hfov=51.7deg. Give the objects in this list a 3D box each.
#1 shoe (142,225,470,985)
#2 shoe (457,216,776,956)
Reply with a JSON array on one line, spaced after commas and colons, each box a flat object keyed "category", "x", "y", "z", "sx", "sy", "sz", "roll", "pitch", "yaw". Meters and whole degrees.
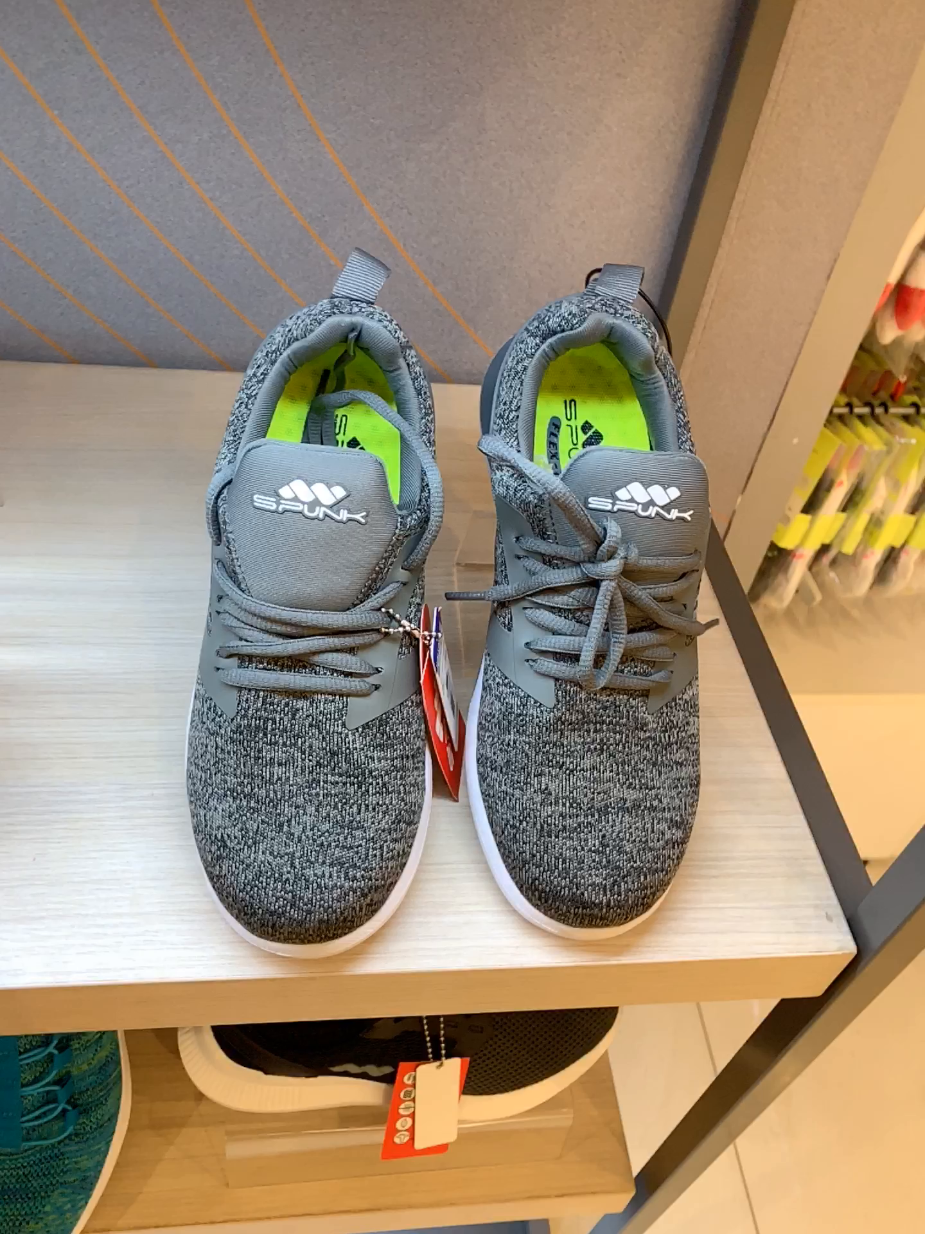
[{"category": "shoe", "x": -0.048, "y": -0.005, "z": 0.341, "sx": 0.080, "sy": 0.080, "sz": 0.241, "roll": 5, "pitch": 78, "yaw": -4}, {"category": "shoe", "x": 0.050, "y": -0.010, "z": 0.352, "sx": 0.090, "sy": 0.080, "sz": 0.241, "roll": 2, "pitch": 82, "yaw": -9}]
